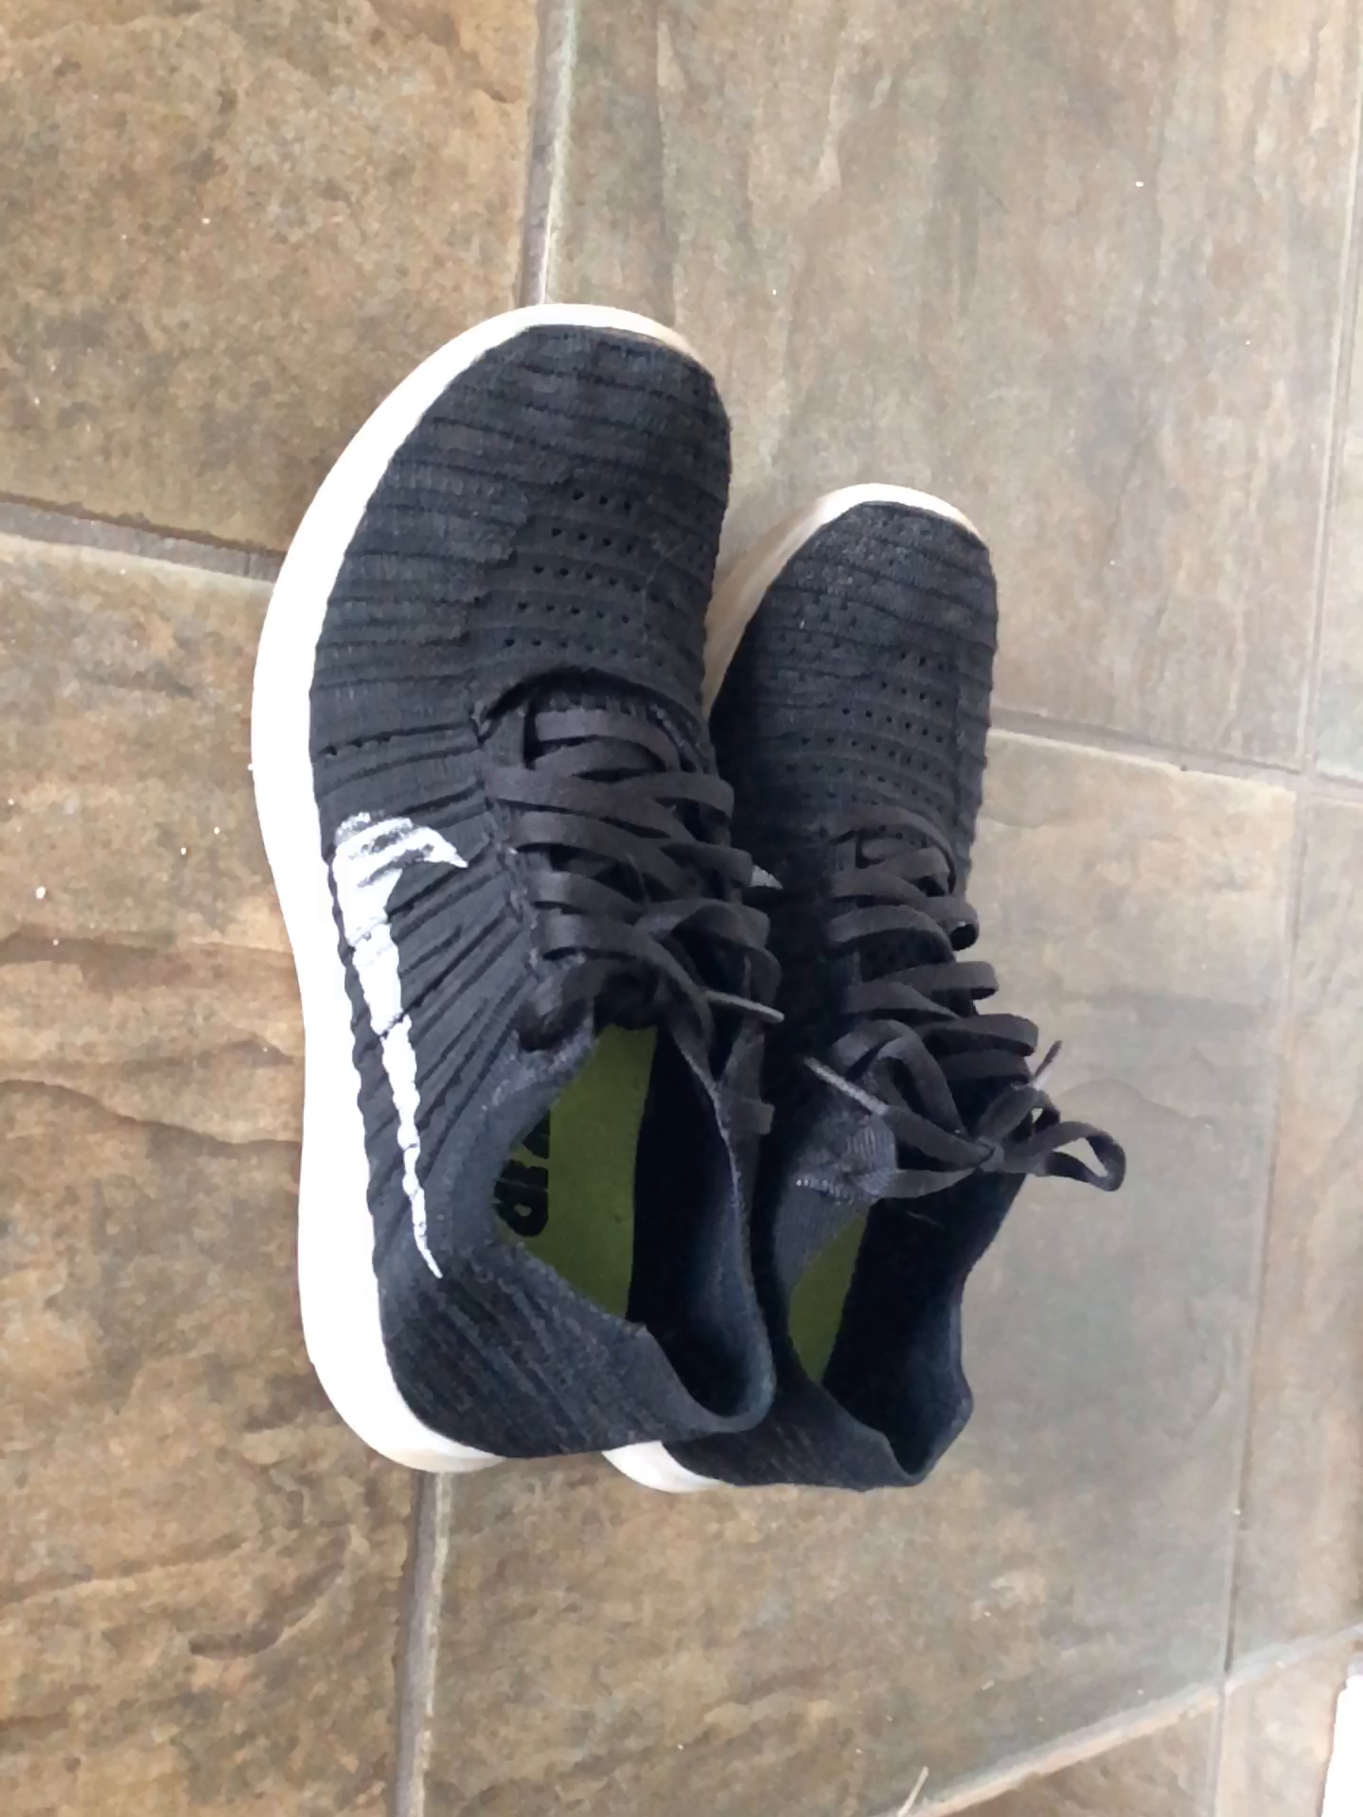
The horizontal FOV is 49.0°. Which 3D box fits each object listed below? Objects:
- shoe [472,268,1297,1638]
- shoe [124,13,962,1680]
[{"bbox_3d":[0.048,0.012,0.351,0.110,0.100,0.260,13,86,-35],"label":"shoe"},{"bbox_3d":[-0.031,-0.008,0.305,0.110,0.100,0.260,6,90,-36],"label":"shoe"}]
